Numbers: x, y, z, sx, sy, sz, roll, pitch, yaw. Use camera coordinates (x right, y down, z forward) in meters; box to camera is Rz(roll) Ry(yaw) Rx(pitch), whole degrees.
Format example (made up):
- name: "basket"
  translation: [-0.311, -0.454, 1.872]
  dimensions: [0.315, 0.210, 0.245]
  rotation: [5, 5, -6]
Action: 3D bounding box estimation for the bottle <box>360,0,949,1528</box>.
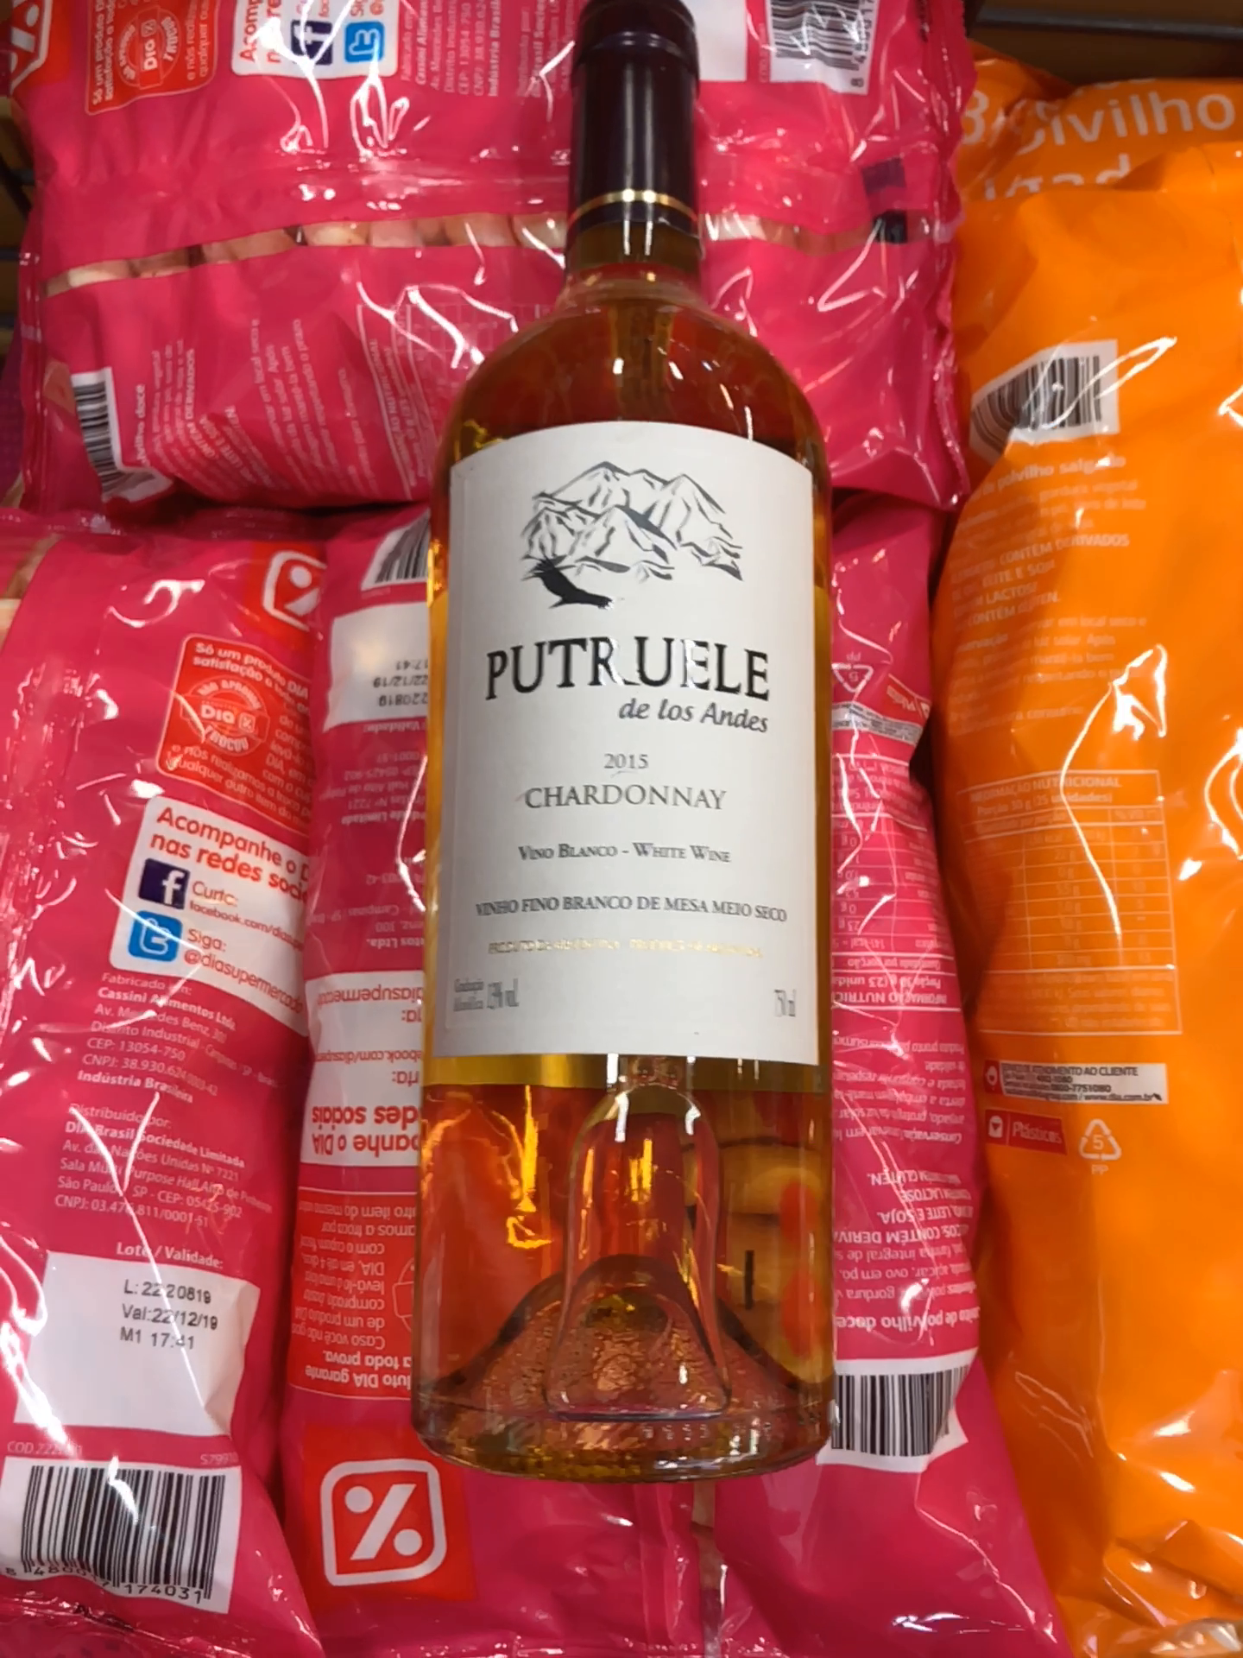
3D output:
- name: "bottle"
  translation: [0.004, -0.042, 0.261]
  dimensions: [0.080, 0.070, 0.300]
  rotation: [1, 75, -3]
